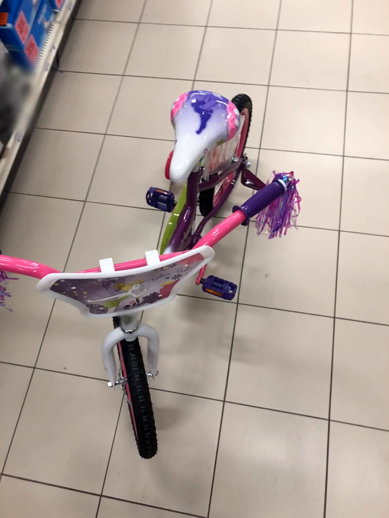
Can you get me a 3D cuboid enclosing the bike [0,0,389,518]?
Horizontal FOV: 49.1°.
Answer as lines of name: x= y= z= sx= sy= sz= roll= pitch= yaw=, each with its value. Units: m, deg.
bike: x=-0.008 y=-0.090 z=1.008 sx=0.595 sy=0.812 sz=1.068 roll=13 pitch=70 yaw=10
